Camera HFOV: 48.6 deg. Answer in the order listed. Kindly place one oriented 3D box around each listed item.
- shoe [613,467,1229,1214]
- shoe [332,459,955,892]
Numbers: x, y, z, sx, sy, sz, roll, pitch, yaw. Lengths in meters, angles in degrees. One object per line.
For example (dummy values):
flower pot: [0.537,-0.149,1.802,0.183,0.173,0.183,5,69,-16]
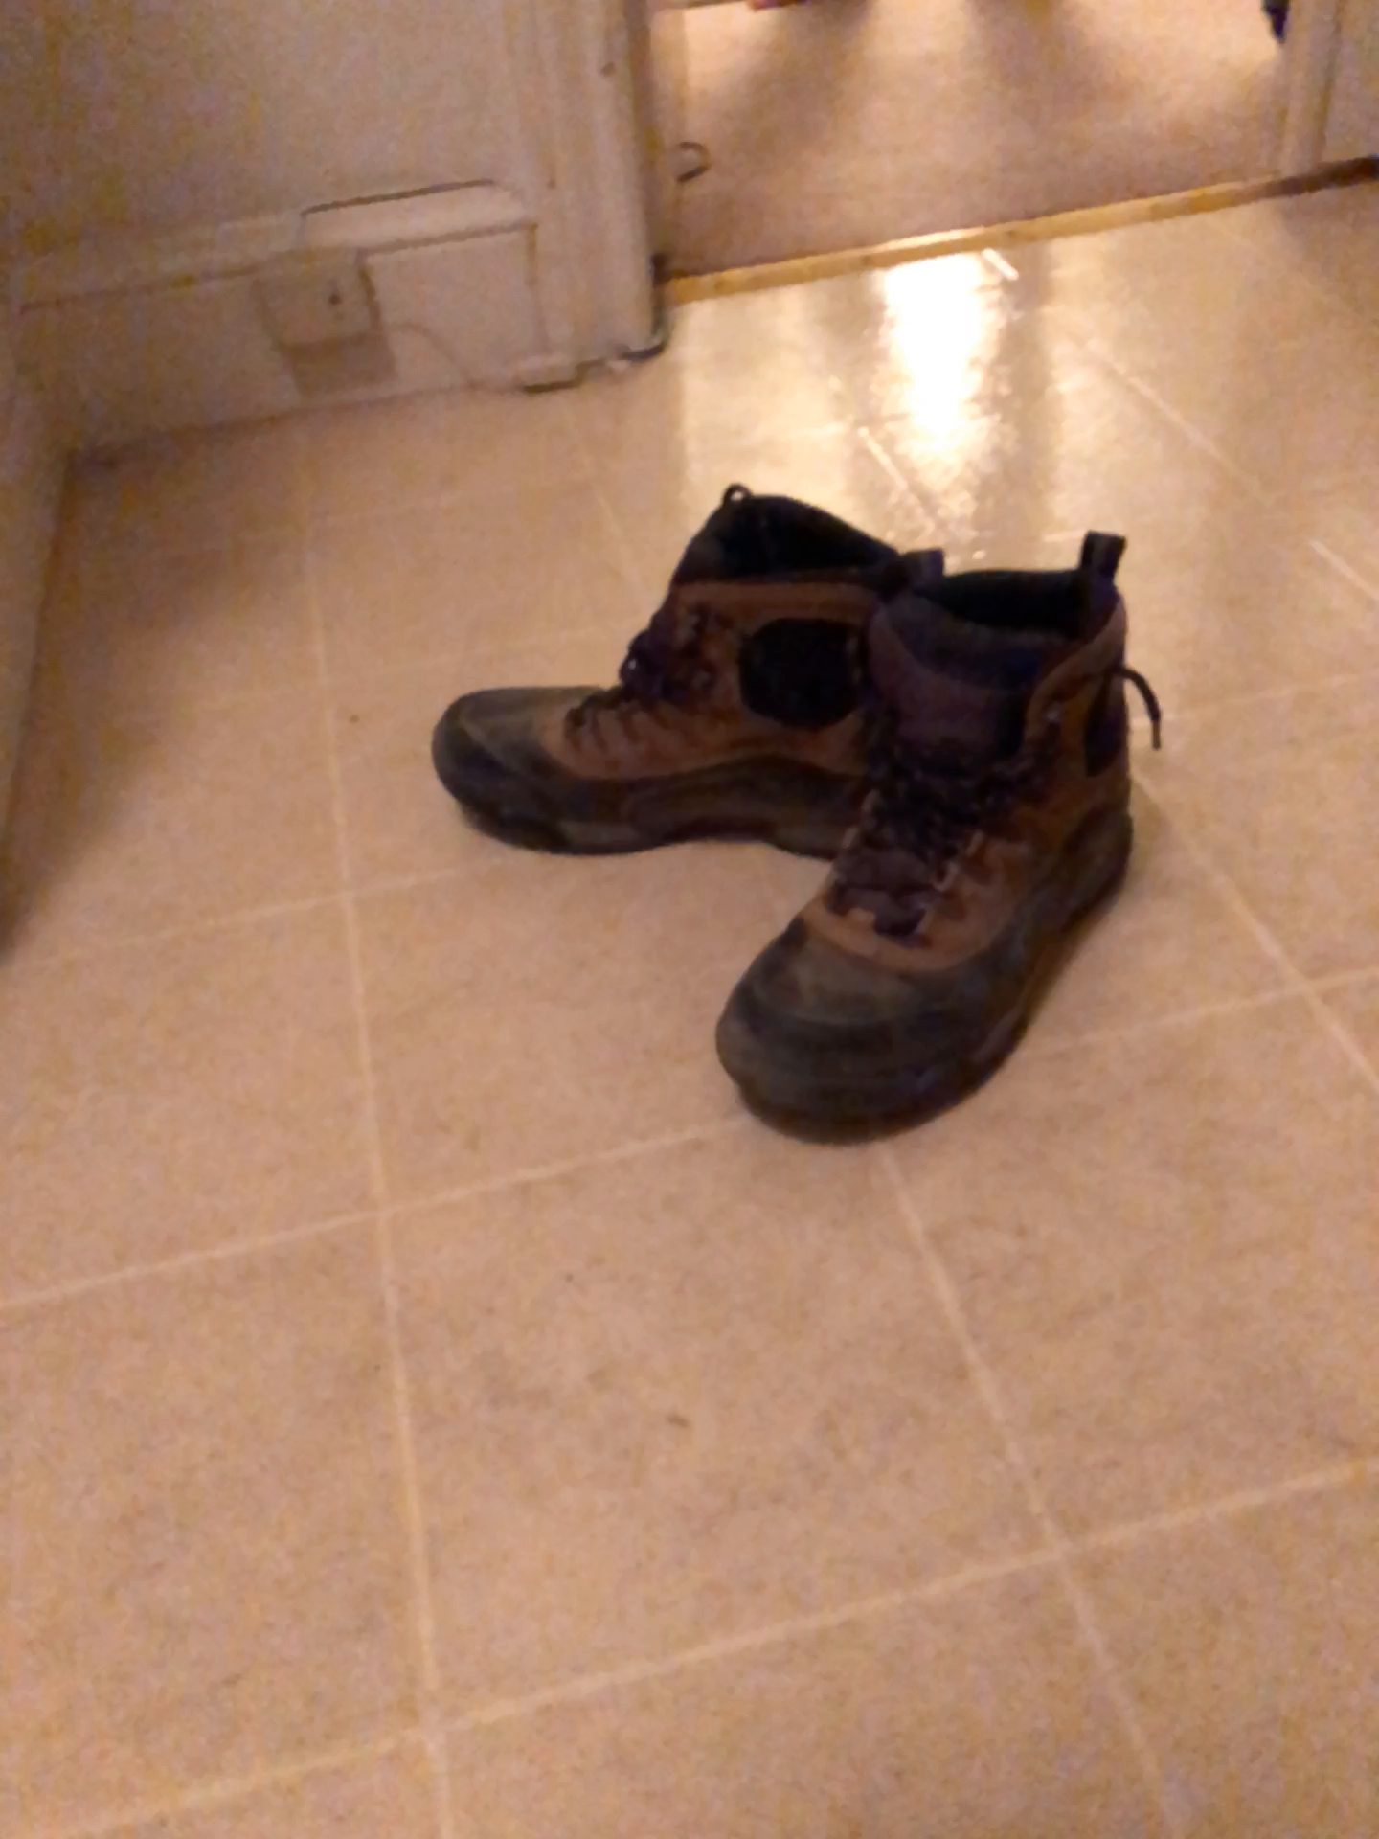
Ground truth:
shoe: [0.118,-0.050,0.710,0.122,0.185,0.300,24,50,30]
shoe: [-0.012,-0.133,0.820,0.293,0.185,0.114,5,43,13]
